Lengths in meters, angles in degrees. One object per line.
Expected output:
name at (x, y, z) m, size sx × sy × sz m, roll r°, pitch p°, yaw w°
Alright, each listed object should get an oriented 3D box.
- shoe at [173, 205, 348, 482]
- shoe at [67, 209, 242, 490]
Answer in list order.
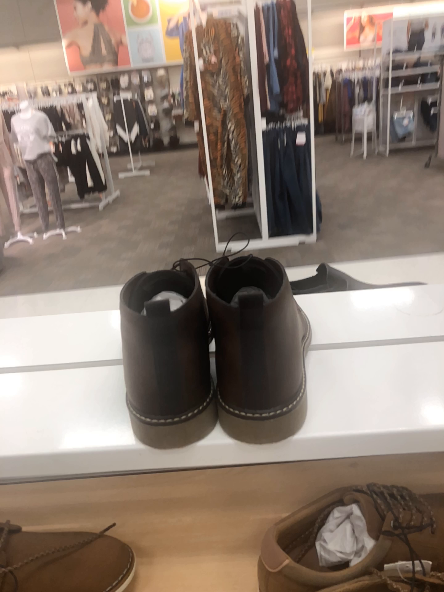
shoe at (0.046, 0.022, 0.546) m, size 0.132 × 0.173 × 0.315 m, roll 0°, pitch 24°, yaw 6°
shoe at (-0.066, 0.026, 0.549) m, size 0.127 × 0.173 × 0.316 m, roll -5°, pitch 23°, yaw -5°
